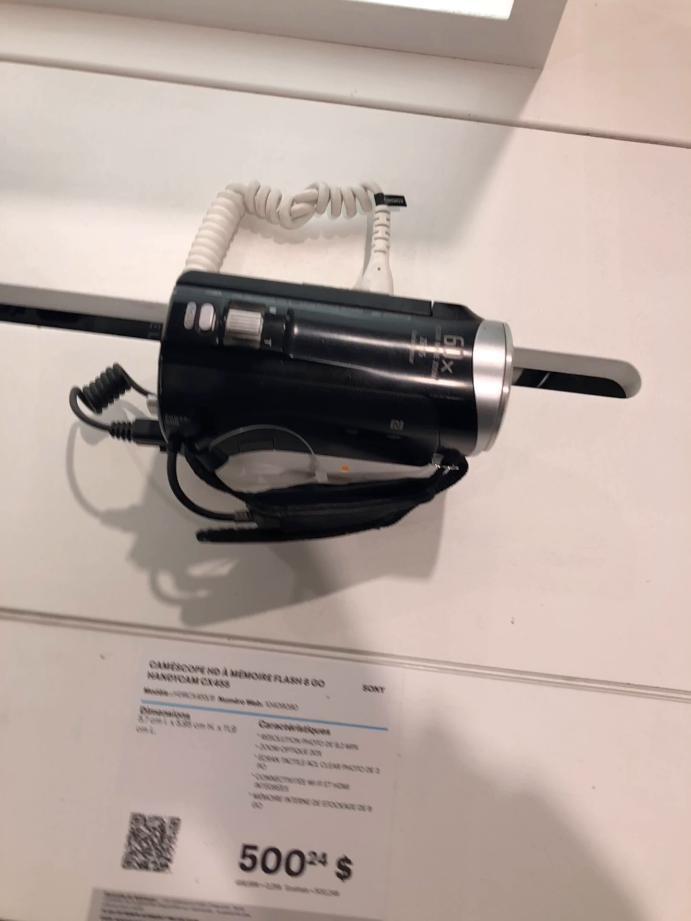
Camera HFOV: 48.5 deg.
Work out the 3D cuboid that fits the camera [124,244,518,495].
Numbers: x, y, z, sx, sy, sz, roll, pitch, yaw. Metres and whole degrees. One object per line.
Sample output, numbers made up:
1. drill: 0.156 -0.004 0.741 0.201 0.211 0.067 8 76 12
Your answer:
1. camera: -0.006 -0.030 0.273 0.121 0.058 0.057 6 69 -1
